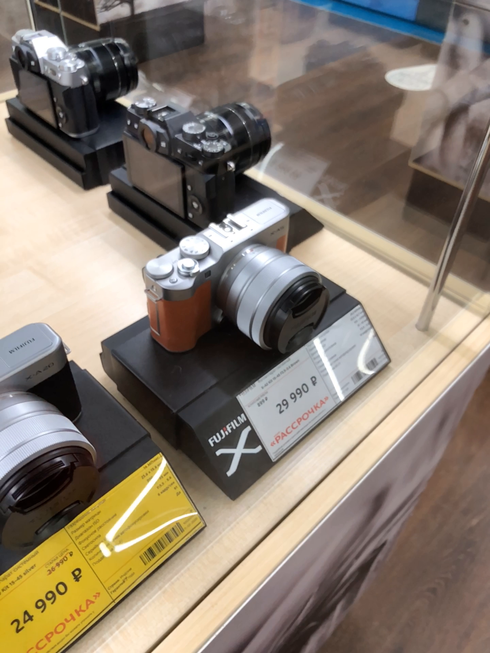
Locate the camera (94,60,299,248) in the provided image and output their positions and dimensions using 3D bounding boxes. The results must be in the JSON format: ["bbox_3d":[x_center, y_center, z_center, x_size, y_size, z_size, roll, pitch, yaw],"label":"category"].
[{"bbox_3d":[-0.042,-0.159,0.487,0.131,0.090,0.113,36,54,29],"label":"camera"}]

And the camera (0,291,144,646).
[{"bbox_3d":[-0.131,0.061,0.268,0.093,0.075,0.121,36,54,28],"label":"camera"}]

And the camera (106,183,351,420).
[{"bbox_3d":[-0.009,-0.022,0.362,0.093,0.075,0.121,36,54,28],"label":"camera"}]
